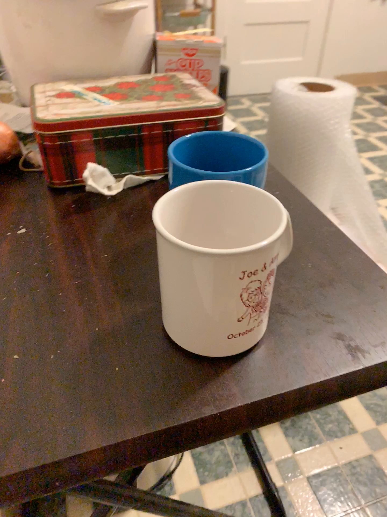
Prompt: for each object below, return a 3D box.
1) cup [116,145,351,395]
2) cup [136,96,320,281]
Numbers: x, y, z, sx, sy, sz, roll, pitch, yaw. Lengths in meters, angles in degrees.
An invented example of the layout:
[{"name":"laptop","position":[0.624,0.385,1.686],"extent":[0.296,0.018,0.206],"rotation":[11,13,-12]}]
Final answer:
[{"name":"cup","position":[0.030,-0.002,0.285],"extent":[0.090,0.099,0.130],"rotation":[28,46,31]},{"name":"cup","position":[0.034,-0.072,0.367],"extent":[0.090,0.099,0.140],"rotation":[27,46,30]}]
